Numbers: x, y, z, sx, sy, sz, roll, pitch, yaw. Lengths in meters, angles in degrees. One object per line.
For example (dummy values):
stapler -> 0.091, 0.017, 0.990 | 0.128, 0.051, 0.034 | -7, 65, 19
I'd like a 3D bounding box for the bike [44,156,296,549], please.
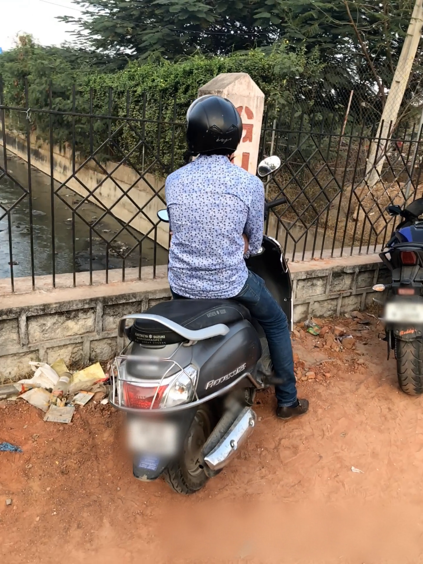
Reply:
bike -> -0.072, 0.117, 2.407 | 0.796, 1.217, 1.587 | 8, 22, 9
